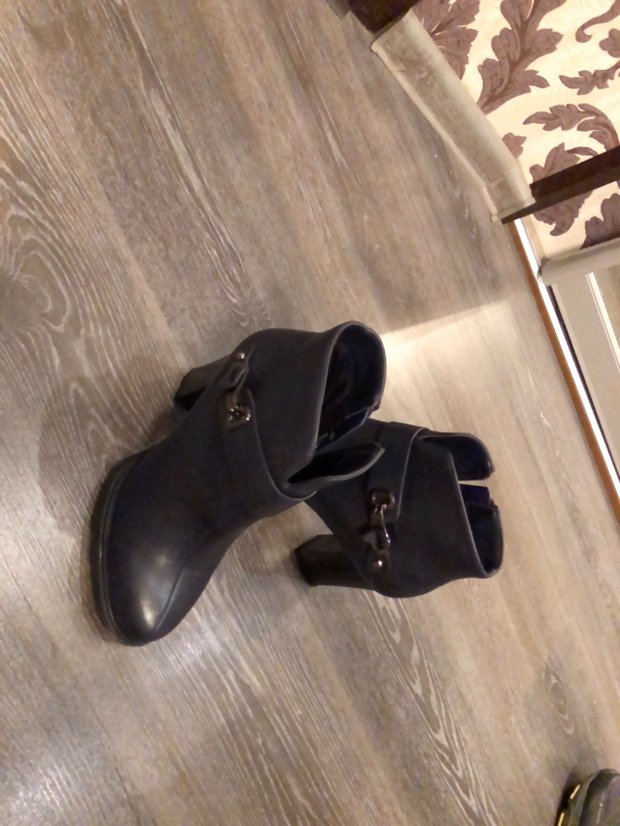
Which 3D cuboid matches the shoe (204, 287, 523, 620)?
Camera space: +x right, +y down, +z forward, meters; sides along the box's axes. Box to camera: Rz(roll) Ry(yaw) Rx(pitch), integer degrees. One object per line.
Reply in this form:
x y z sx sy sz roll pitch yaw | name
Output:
0.033 0.035 0.528 0.091 0.189 0.210 -15 92 -44 | shoe

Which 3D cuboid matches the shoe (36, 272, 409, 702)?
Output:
-0.056 0.049 0.430 0.090 0.189 0.211 30 62 -35 | shoe
